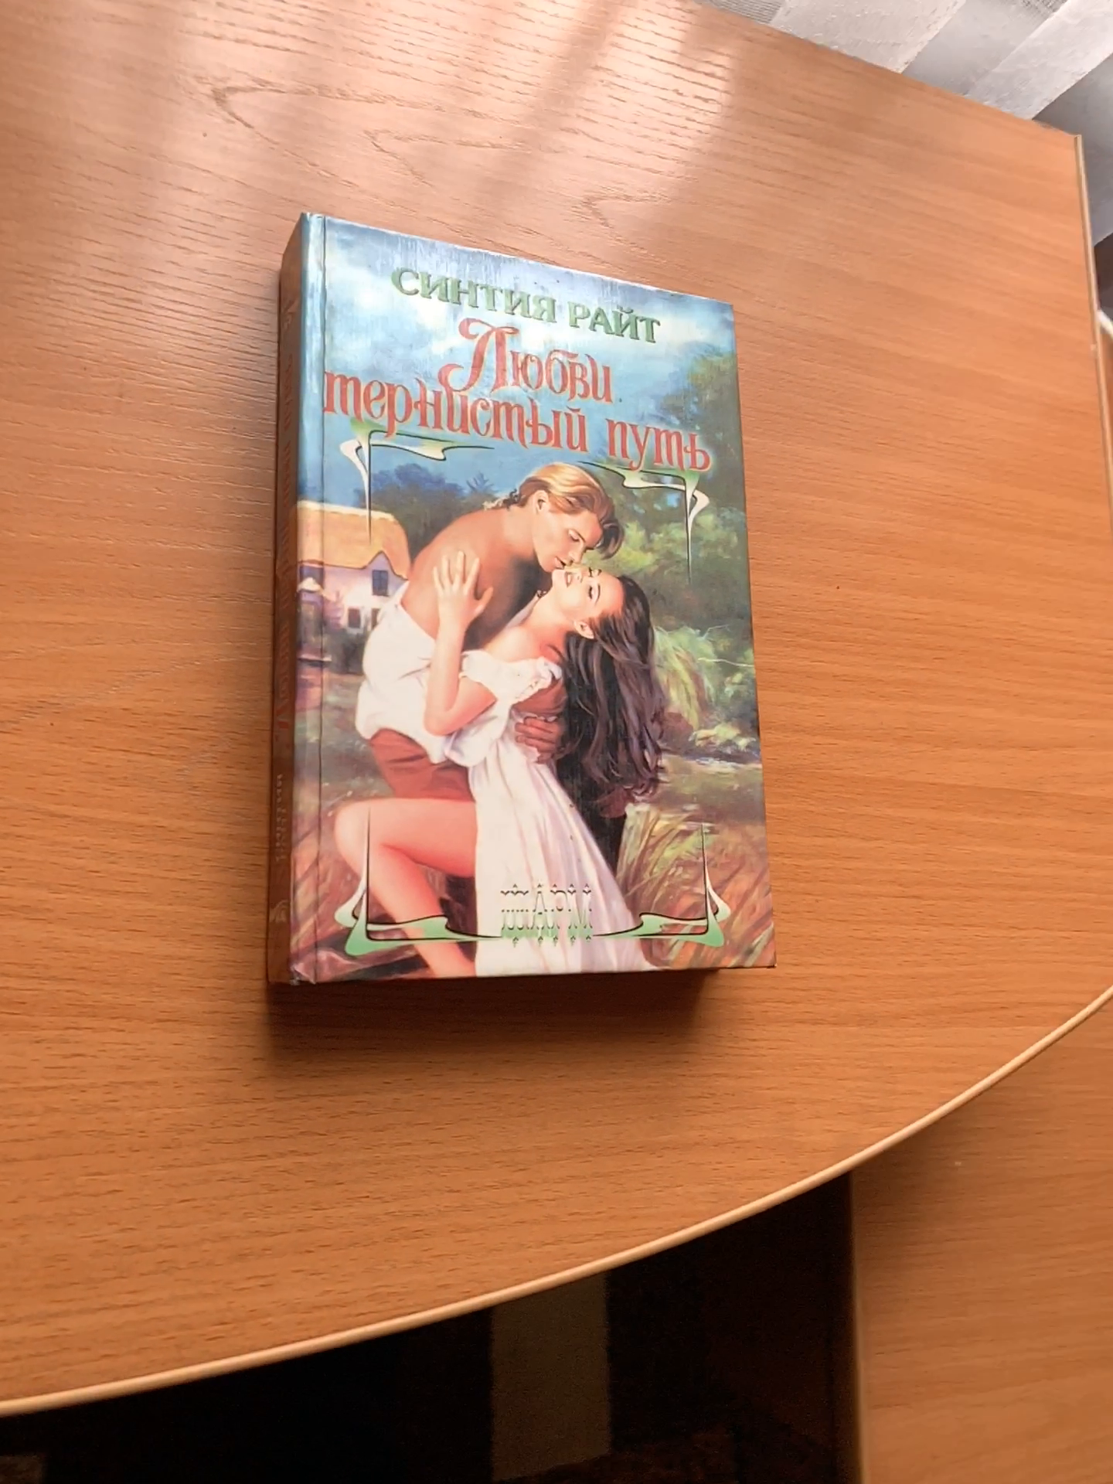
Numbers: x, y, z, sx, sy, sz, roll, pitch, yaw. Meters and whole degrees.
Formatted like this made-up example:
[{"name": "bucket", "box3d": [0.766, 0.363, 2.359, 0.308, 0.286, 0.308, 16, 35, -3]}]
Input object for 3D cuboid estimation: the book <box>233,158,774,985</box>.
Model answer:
[{"name": "book", "box3d": [-0.012, -0.042, 0.319, 0.140, 0.030, 0.210, 4, 79, -23]}]
